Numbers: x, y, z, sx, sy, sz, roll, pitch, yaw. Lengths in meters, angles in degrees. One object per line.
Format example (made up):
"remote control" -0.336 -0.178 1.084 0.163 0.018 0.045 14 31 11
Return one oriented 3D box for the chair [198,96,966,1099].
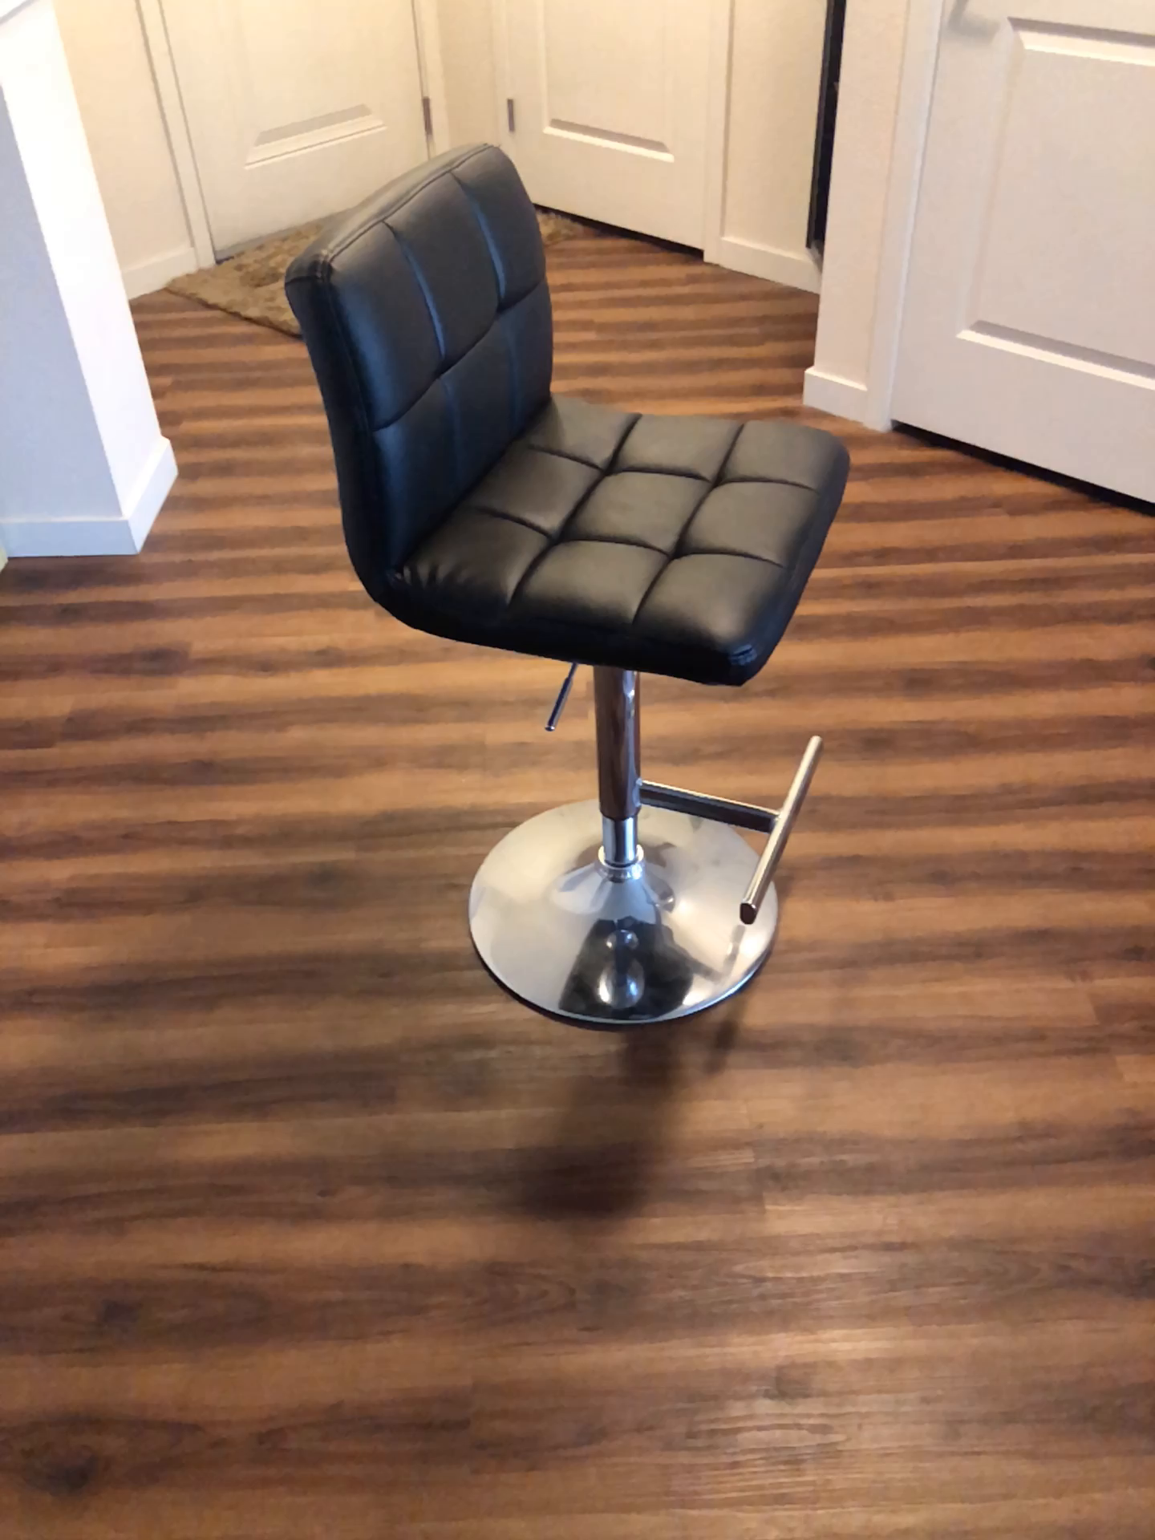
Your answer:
"chair" 0.051 -0.191 1.493 0.568 0.952 0.536 13 42 17
